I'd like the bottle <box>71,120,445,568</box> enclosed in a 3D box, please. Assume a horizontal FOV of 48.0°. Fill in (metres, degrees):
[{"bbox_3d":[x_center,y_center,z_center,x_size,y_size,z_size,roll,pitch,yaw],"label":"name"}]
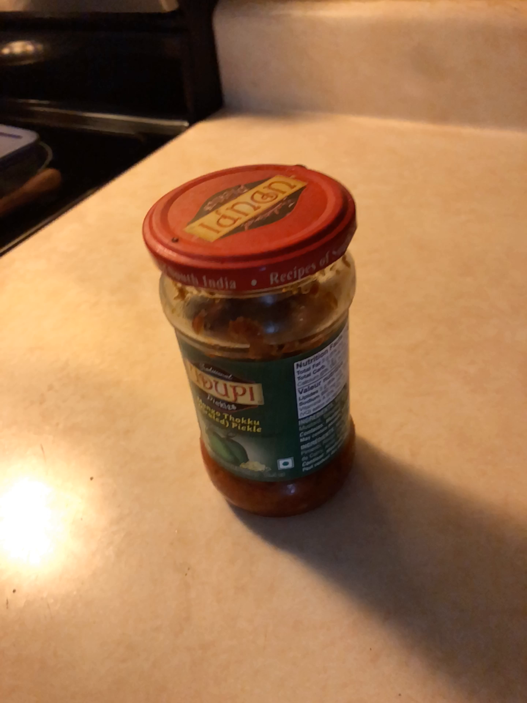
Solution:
[{"bbox_3d":[0.004,-0.005,0.216,0.080,0.120,0.080,-4,40,4],"label":"bottle"}]
